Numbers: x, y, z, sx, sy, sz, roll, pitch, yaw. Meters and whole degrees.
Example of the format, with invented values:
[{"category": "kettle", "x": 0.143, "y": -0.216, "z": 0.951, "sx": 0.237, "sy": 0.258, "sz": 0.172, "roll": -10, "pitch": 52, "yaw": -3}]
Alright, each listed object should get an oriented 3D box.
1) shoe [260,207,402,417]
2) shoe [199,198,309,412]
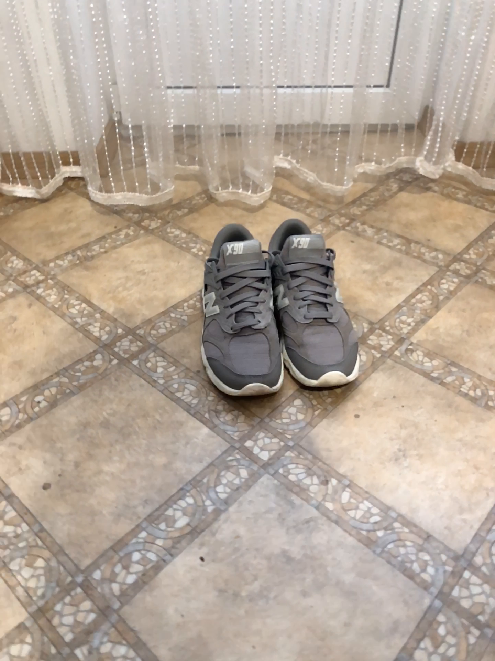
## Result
[{"category": "shoe", "x": 0.088, "y": -0.037, "z": 0.685, "sx": 0.100, "sy": 0.119, "sz": 0.272, "roll": -5, "pitch": 39, "yaw": -6}, {"category": "shoe", "x": -0.003, "y": -0.045, "z": 0.661, "sx": 0.100, "sy": 0.119, "sz": 0.272, "roll": -3, "pitch": 38, "yaw": -4}]
